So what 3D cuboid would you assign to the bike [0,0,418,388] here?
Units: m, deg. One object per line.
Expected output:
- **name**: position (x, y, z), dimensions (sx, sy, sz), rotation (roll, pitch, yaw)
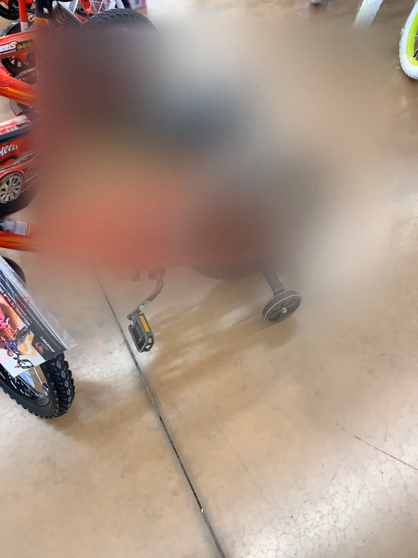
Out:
- **bike**: position (-0.219, -0.235, 1.009), dimensions (0.994, 0.821, 0.504), rotation (-20, 57, -3)
